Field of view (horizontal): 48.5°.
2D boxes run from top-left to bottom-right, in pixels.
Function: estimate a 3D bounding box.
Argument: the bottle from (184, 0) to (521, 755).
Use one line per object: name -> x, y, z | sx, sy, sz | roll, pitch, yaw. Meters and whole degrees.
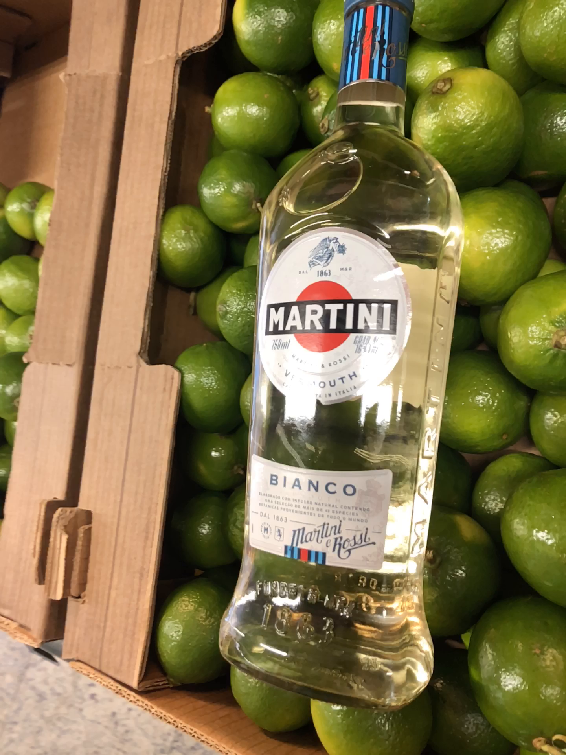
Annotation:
bottle -> 0.032, -0.031, 0.268 | 0.100, 0.050, 0.320 | 2, 83, 33
